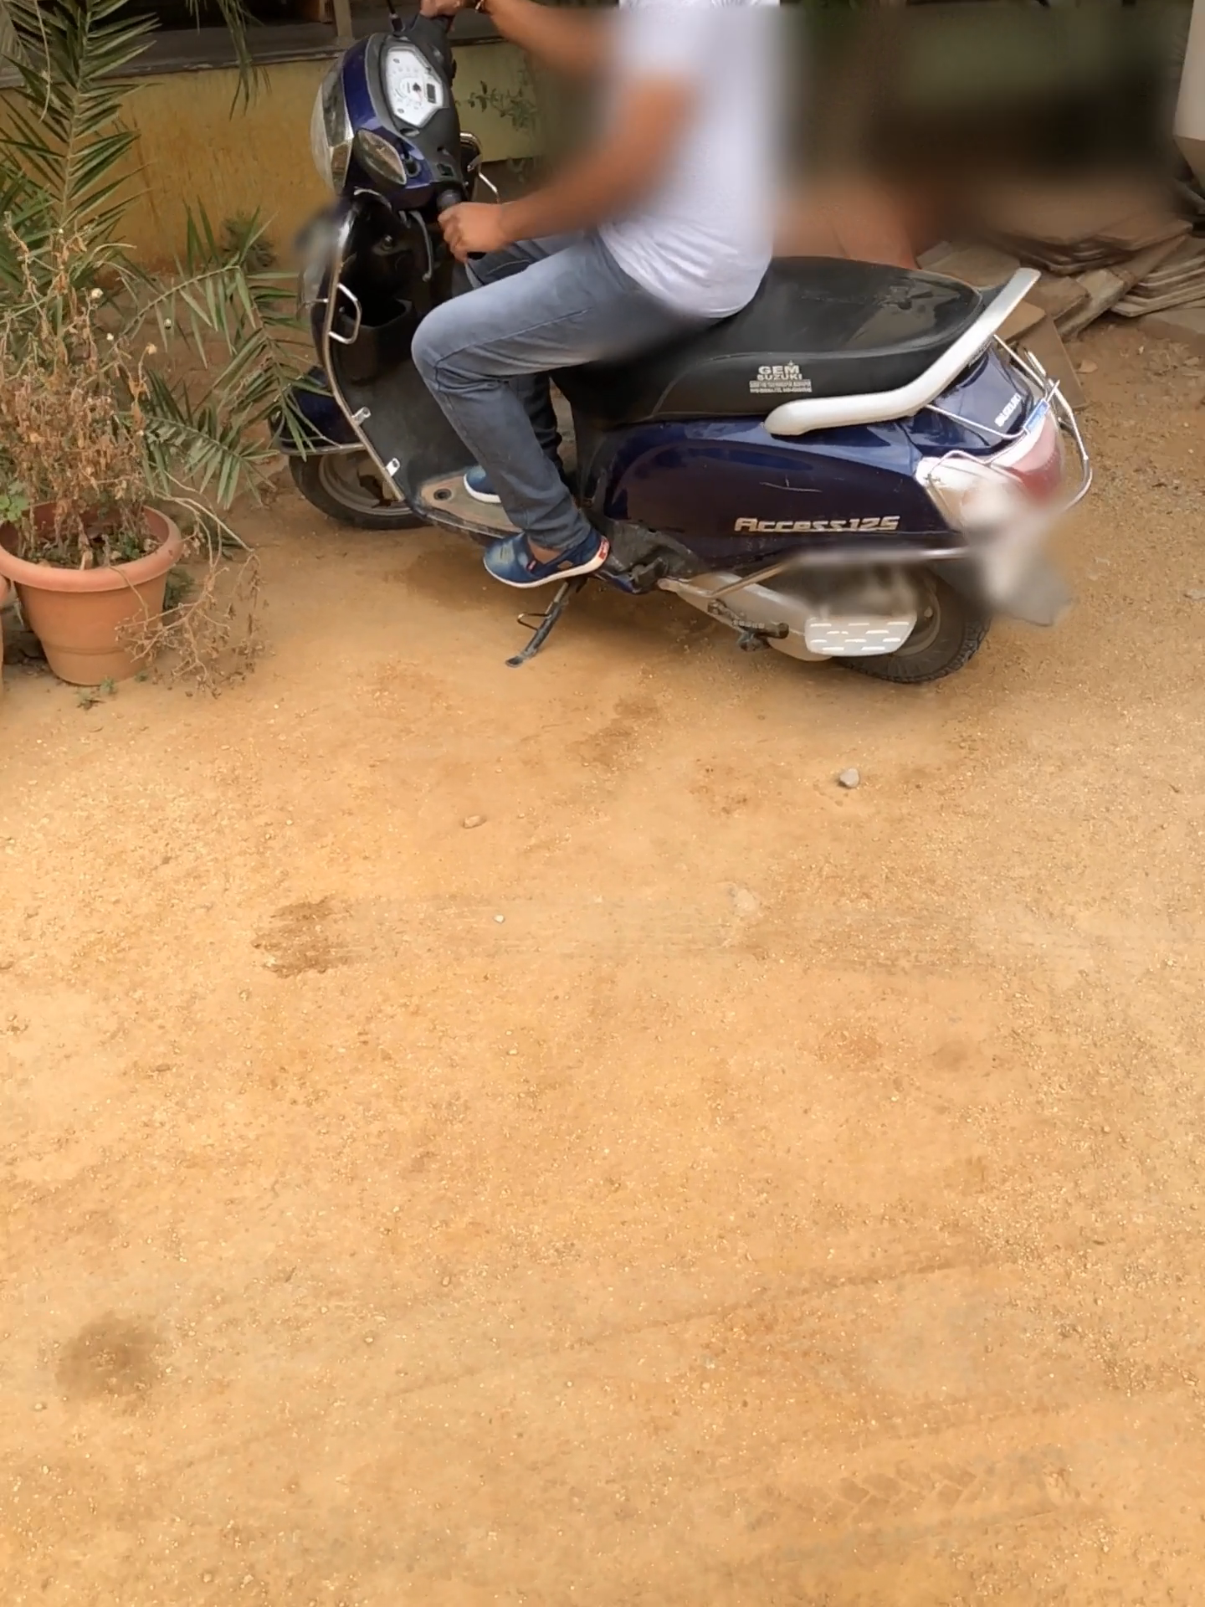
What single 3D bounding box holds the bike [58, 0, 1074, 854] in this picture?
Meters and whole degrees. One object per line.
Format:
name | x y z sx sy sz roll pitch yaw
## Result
bike | -0.074 -0.812 2.459 1.621 1.222 0.591 17 40 25
